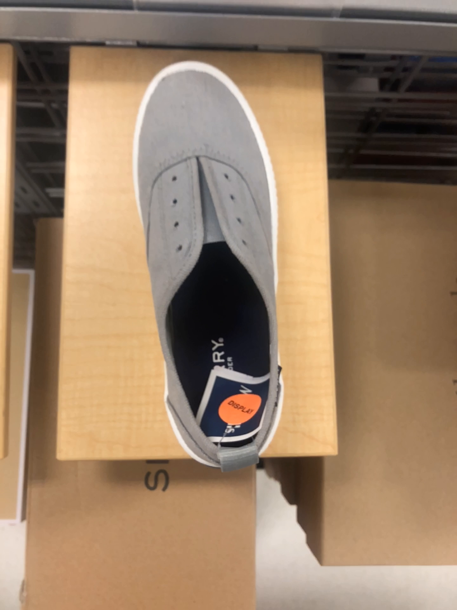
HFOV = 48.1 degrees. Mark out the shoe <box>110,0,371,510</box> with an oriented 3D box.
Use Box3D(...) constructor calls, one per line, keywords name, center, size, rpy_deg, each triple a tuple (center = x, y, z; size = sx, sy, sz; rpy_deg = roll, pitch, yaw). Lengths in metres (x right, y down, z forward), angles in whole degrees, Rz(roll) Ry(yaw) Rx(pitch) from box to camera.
Box3D(name="shoe", center=(-0.001, -0.030, 0.294), size=(0.097, 0.081, 0.251), rpy_deg=(-7, 82, -7))
